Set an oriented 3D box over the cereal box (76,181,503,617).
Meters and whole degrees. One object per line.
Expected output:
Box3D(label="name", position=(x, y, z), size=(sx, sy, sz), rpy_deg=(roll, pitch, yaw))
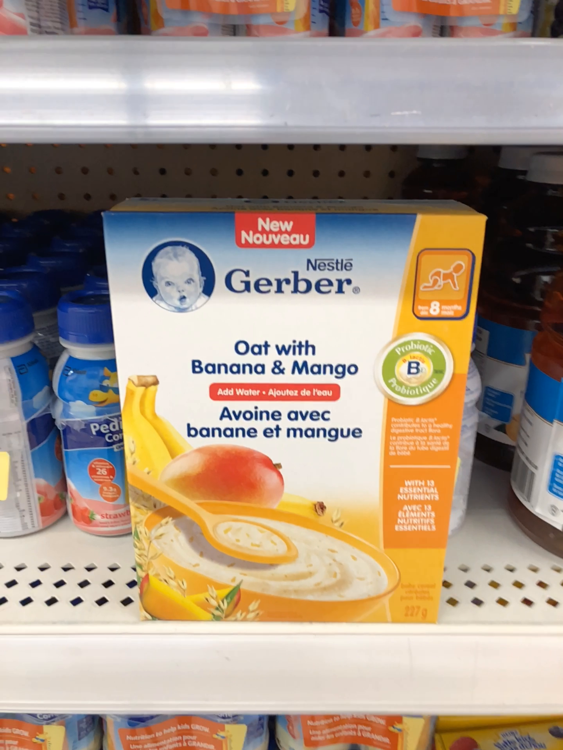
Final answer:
Box3D(label="cereal box", position=(0.001, 0.017, 0.274), size=(0.150, 0.189, 0.040), rpy_deg=(1, 23, -1))
